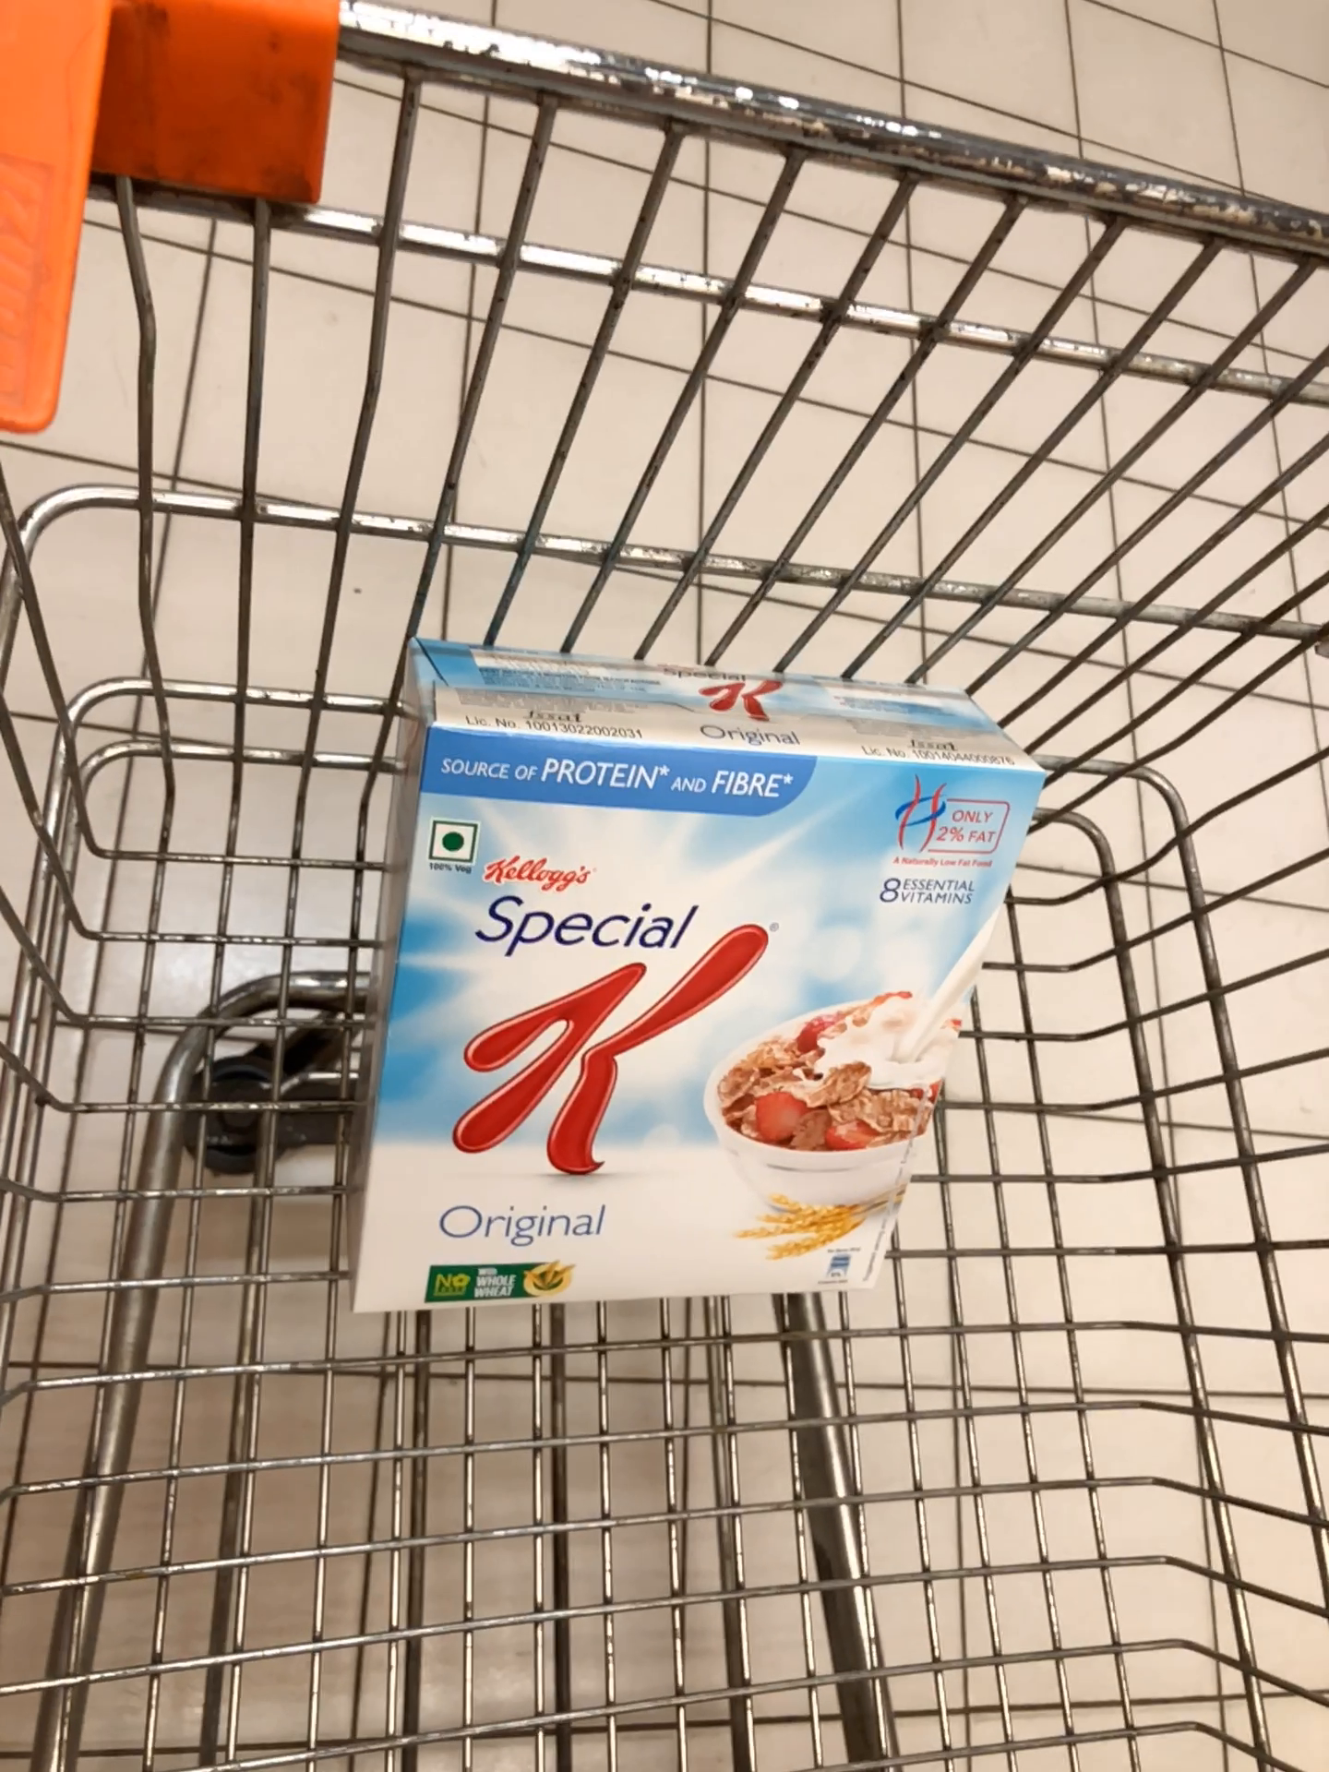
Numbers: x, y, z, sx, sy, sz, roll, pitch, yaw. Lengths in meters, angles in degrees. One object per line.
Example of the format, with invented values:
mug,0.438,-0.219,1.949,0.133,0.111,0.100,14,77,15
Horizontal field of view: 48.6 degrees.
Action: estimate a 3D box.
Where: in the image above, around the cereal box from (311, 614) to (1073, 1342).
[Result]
cereal box,-0.003,0.035,0.465,0.190,0.209,0.070,2,29,-19
